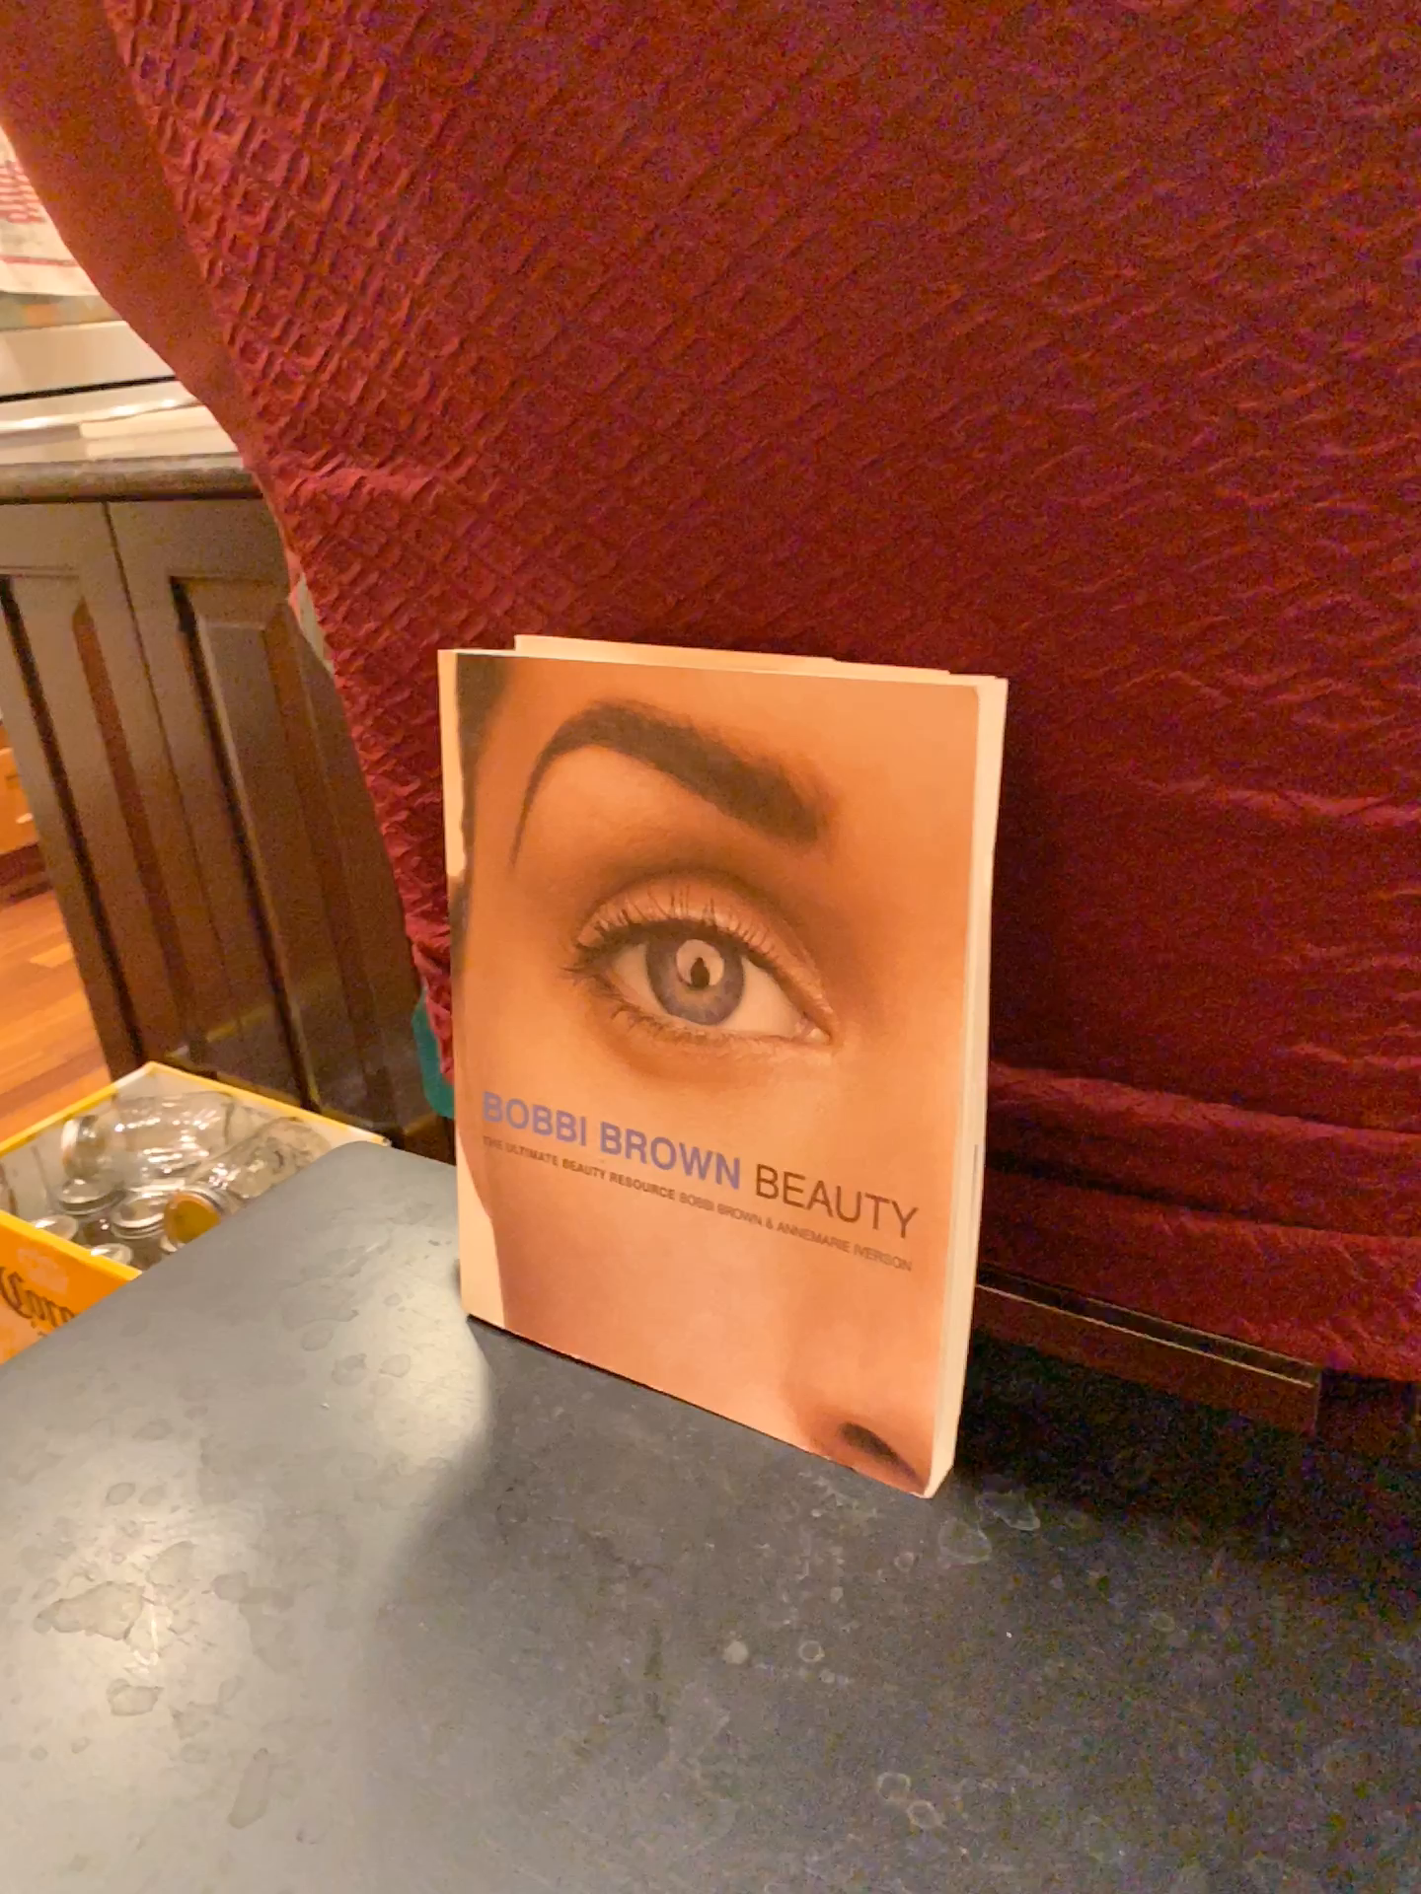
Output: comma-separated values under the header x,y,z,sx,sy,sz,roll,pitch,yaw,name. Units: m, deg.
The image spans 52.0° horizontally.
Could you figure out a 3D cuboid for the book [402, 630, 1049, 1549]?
x,y,z,sx,sy,sz,roll,pitch,yaw,name
-0.006,0.030,0.438,0.201,0.239,0.030,10,17,34,book
